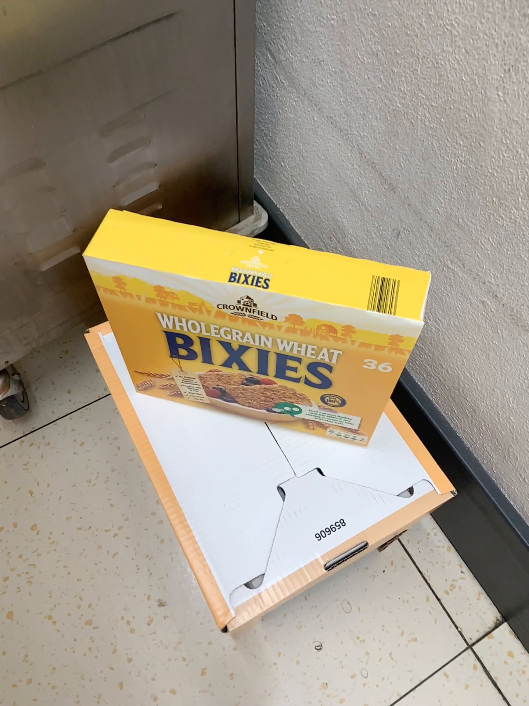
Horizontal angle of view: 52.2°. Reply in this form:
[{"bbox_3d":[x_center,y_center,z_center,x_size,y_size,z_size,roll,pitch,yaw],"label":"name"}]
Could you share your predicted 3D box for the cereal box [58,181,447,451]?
[{"bbox_3d":[-0.011,-0.014,0.537,0.290,0.278,0.070,13,62,6],"label":"cereal box"}]
